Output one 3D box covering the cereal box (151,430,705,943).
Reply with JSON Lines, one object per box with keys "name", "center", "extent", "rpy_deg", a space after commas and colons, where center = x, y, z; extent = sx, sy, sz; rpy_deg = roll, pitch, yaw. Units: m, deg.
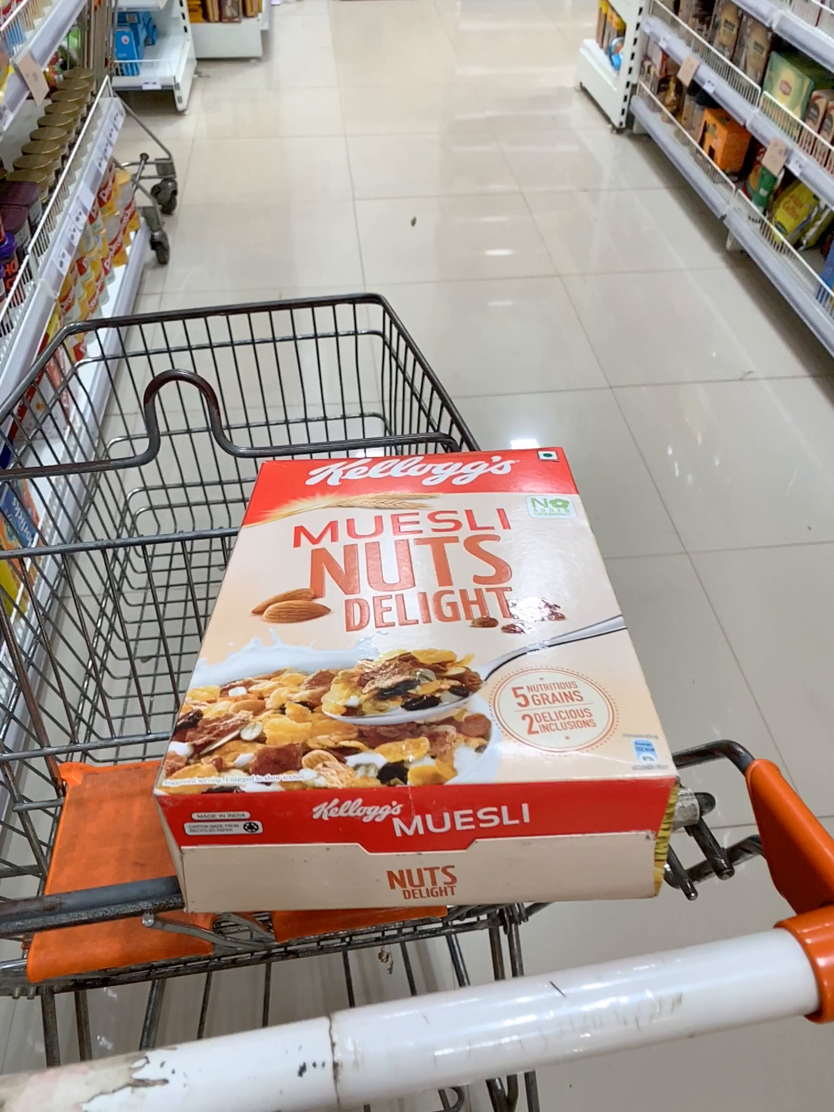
{"name": "cereal box", "center": [0.000, 0.038, 0.427], "extent": [0.190, 0.079, 0.272], "rpy_deg": [-2, 35, -1]}
